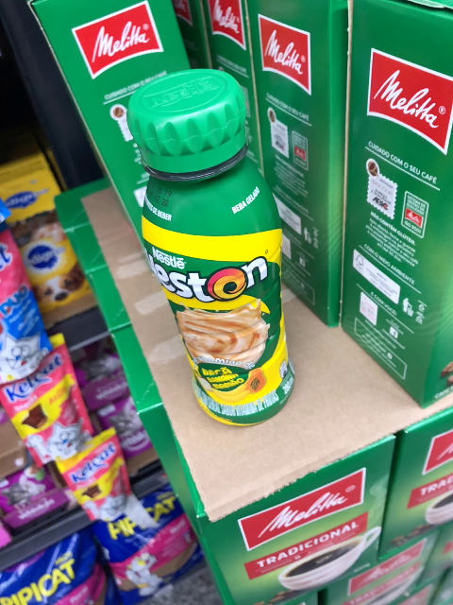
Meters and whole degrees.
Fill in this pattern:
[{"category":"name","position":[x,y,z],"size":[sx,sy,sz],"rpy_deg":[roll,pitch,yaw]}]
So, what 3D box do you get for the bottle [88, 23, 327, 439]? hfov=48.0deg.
[{"category":"bottle","position":[0.007,-0.020,0.233],"size":[0.060,0.179,0.060],"rpy_deg":[-6,43,5]}]
